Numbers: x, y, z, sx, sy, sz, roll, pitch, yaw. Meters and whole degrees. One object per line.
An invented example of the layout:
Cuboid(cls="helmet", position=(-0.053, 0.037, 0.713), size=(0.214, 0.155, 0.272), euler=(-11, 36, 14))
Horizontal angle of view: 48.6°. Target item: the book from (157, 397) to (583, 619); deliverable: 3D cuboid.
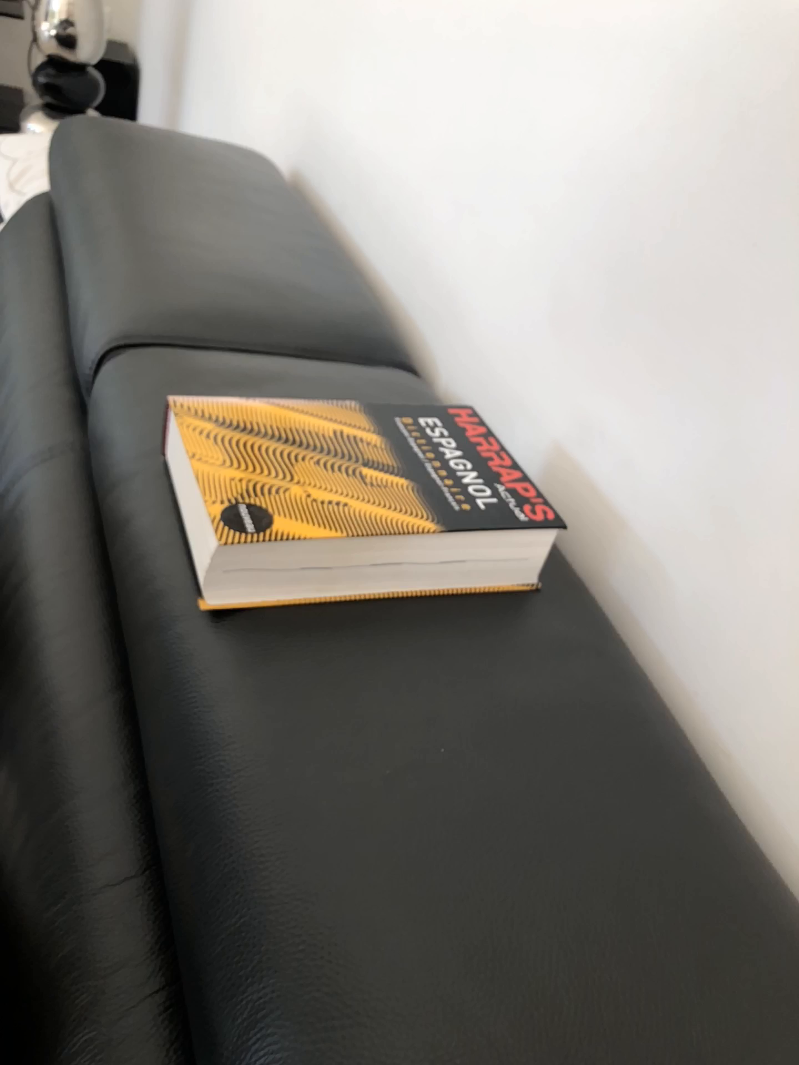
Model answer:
Cuboid(cls="book", position=(-0.028, -0.027, 0.642), size=(0.261, 0.050, 0.185), euler=(-2, 37, -24))
